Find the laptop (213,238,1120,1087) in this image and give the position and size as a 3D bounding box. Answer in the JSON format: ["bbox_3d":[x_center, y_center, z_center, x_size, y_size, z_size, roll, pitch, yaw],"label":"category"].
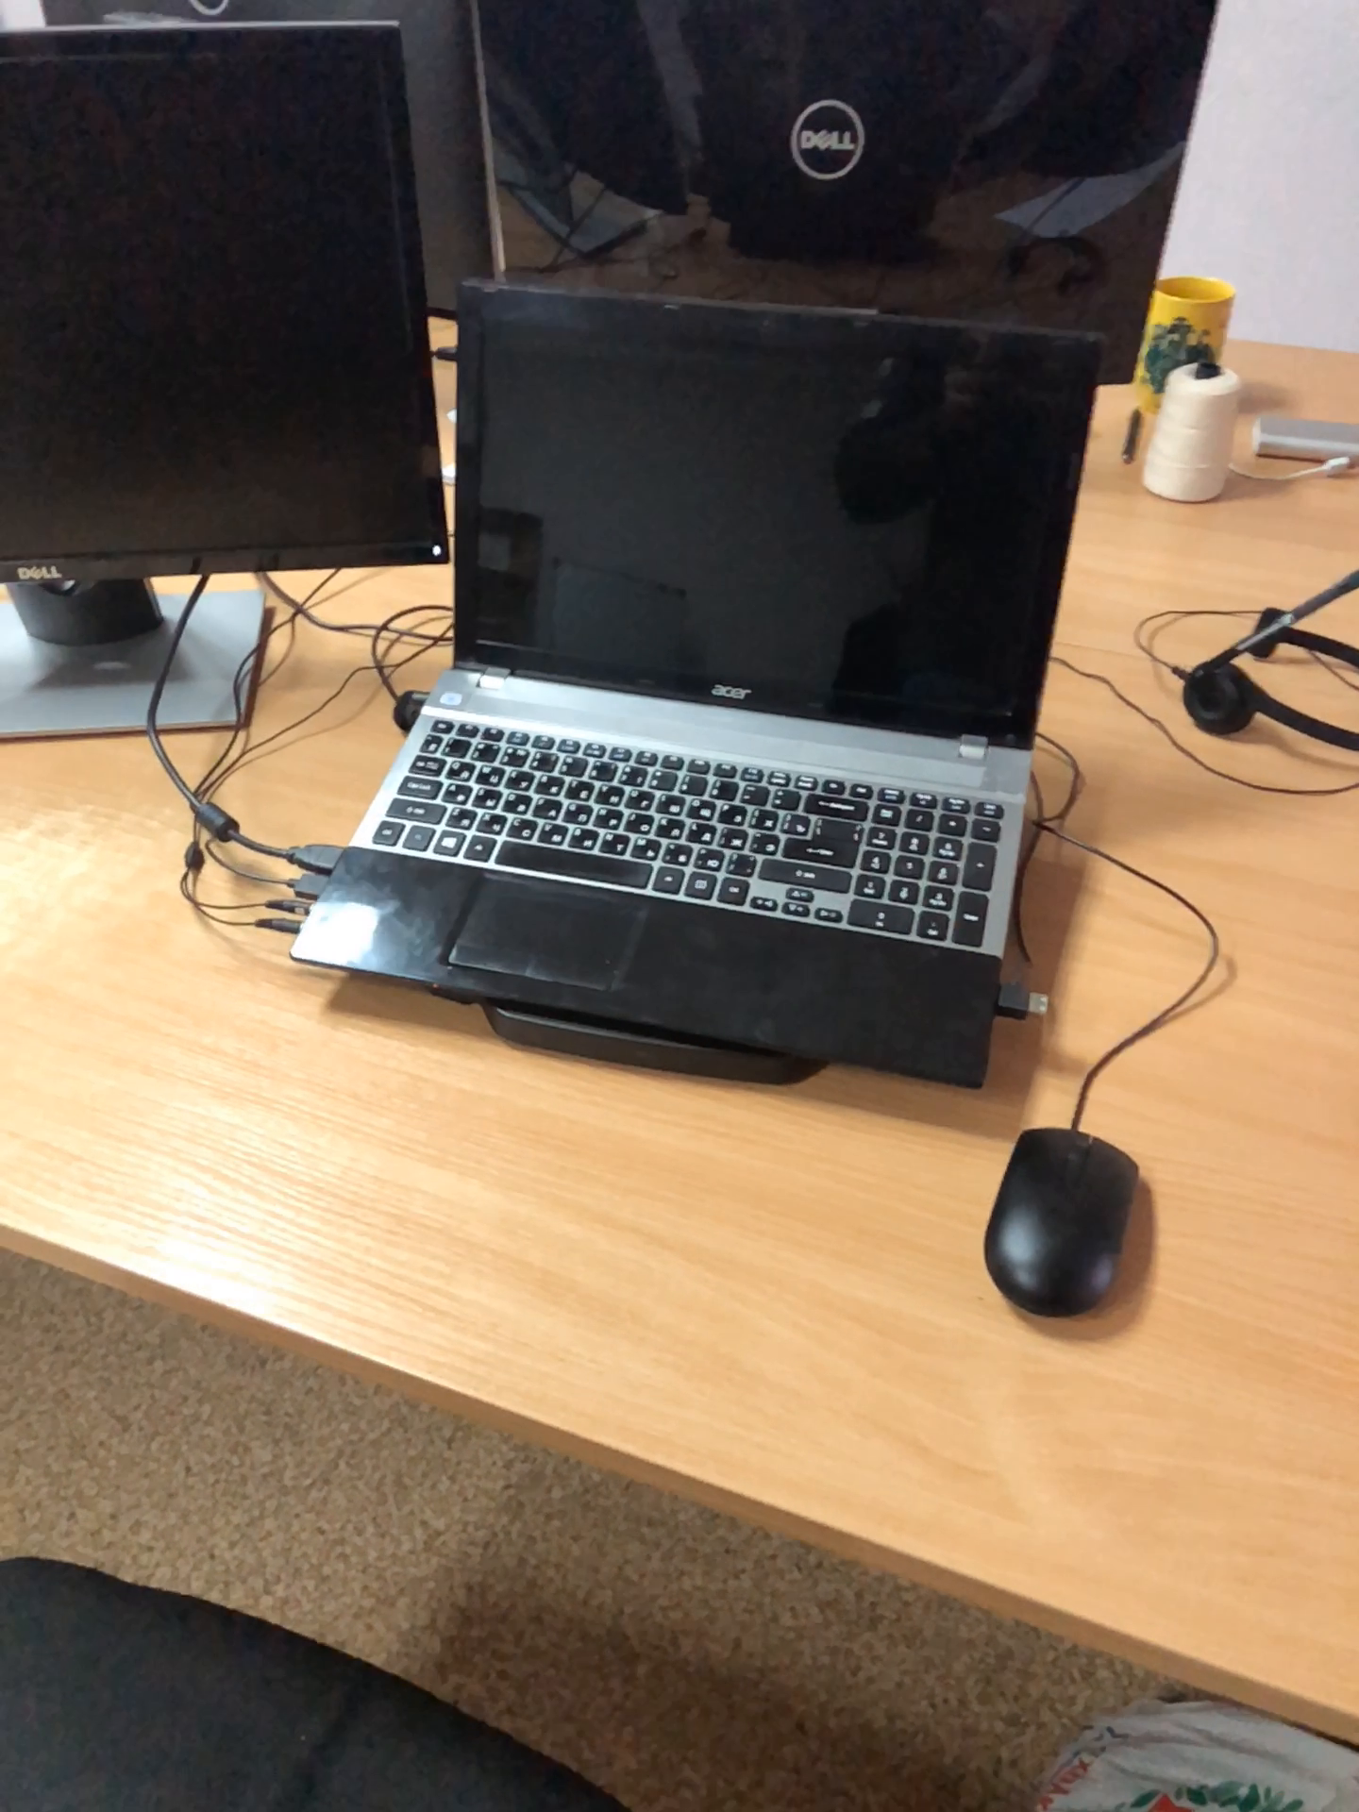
[{"bbox_3d":[0.016,-0.155,0.807,0.370,0.215,0.353,9,47,12],"label":"laptop"}]
